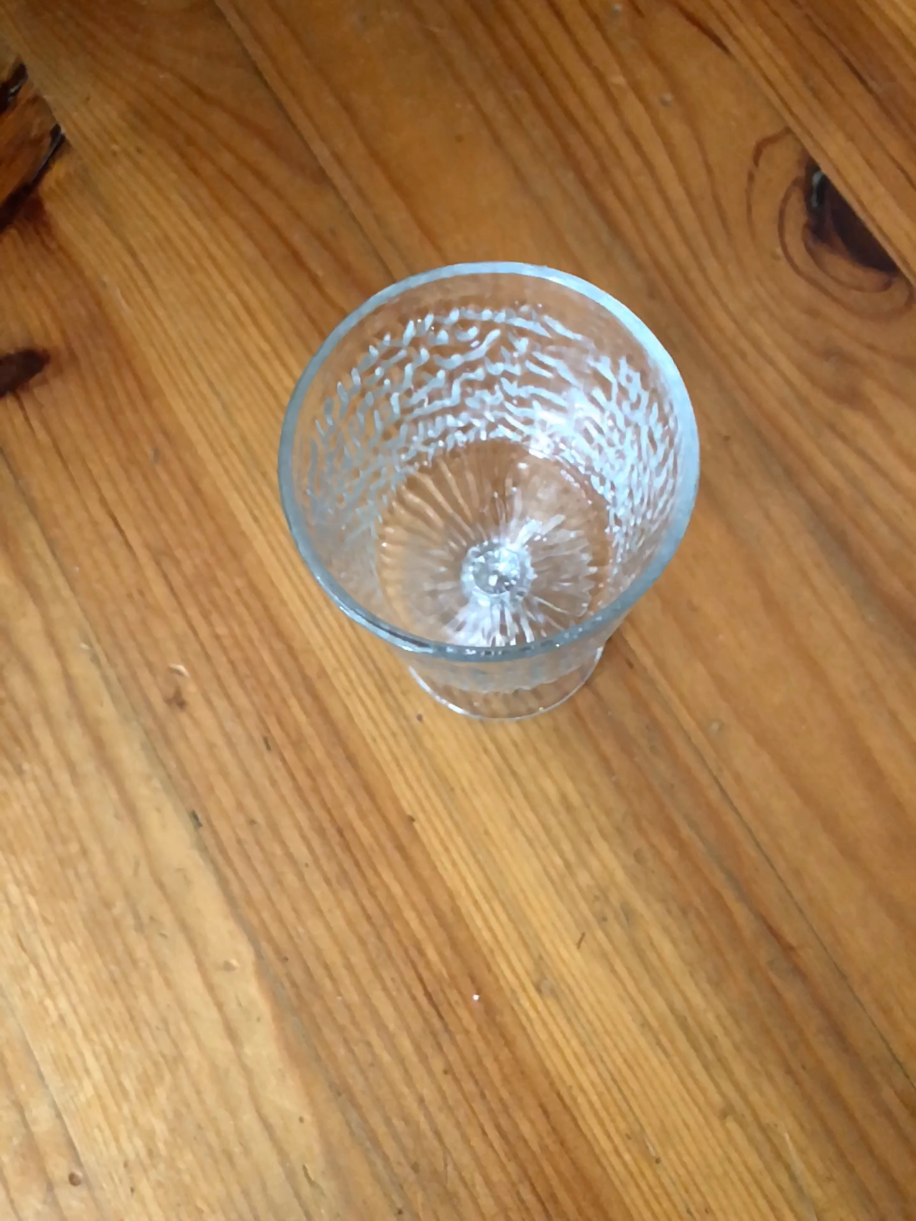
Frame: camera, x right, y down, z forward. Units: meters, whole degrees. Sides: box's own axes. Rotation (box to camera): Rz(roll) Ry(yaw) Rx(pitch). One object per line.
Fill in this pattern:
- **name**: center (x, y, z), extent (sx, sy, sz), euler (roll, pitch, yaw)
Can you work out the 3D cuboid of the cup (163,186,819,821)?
- **cup**: center (0.008, -0.008, 0.239), extent (0.081, 0.134, 0.080), euler (-1, 78, 3)
